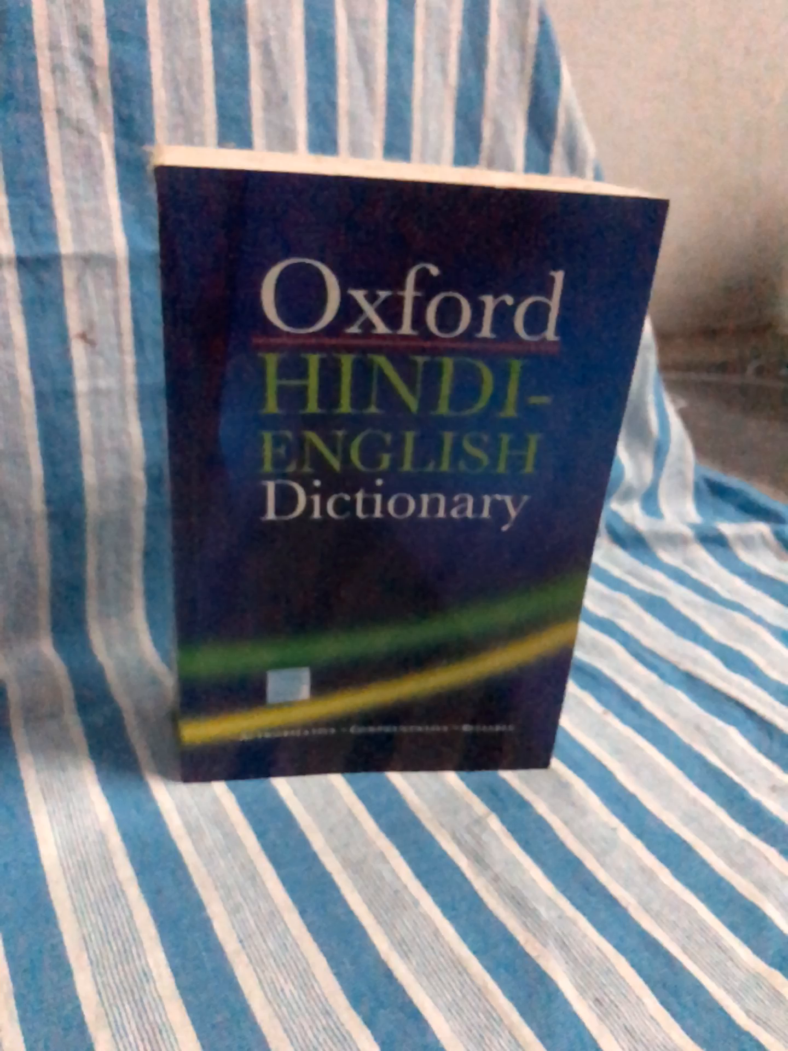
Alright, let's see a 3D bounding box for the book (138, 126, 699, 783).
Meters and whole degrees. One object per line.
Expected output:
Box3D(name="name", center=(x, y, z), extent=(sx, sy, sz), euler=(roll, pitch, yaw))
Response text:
Box3D(name="book", center=(-0.005, -0.011, 0.286), extent=(0.140, 0.199, 0.050), euler=(1, 30, -11))
